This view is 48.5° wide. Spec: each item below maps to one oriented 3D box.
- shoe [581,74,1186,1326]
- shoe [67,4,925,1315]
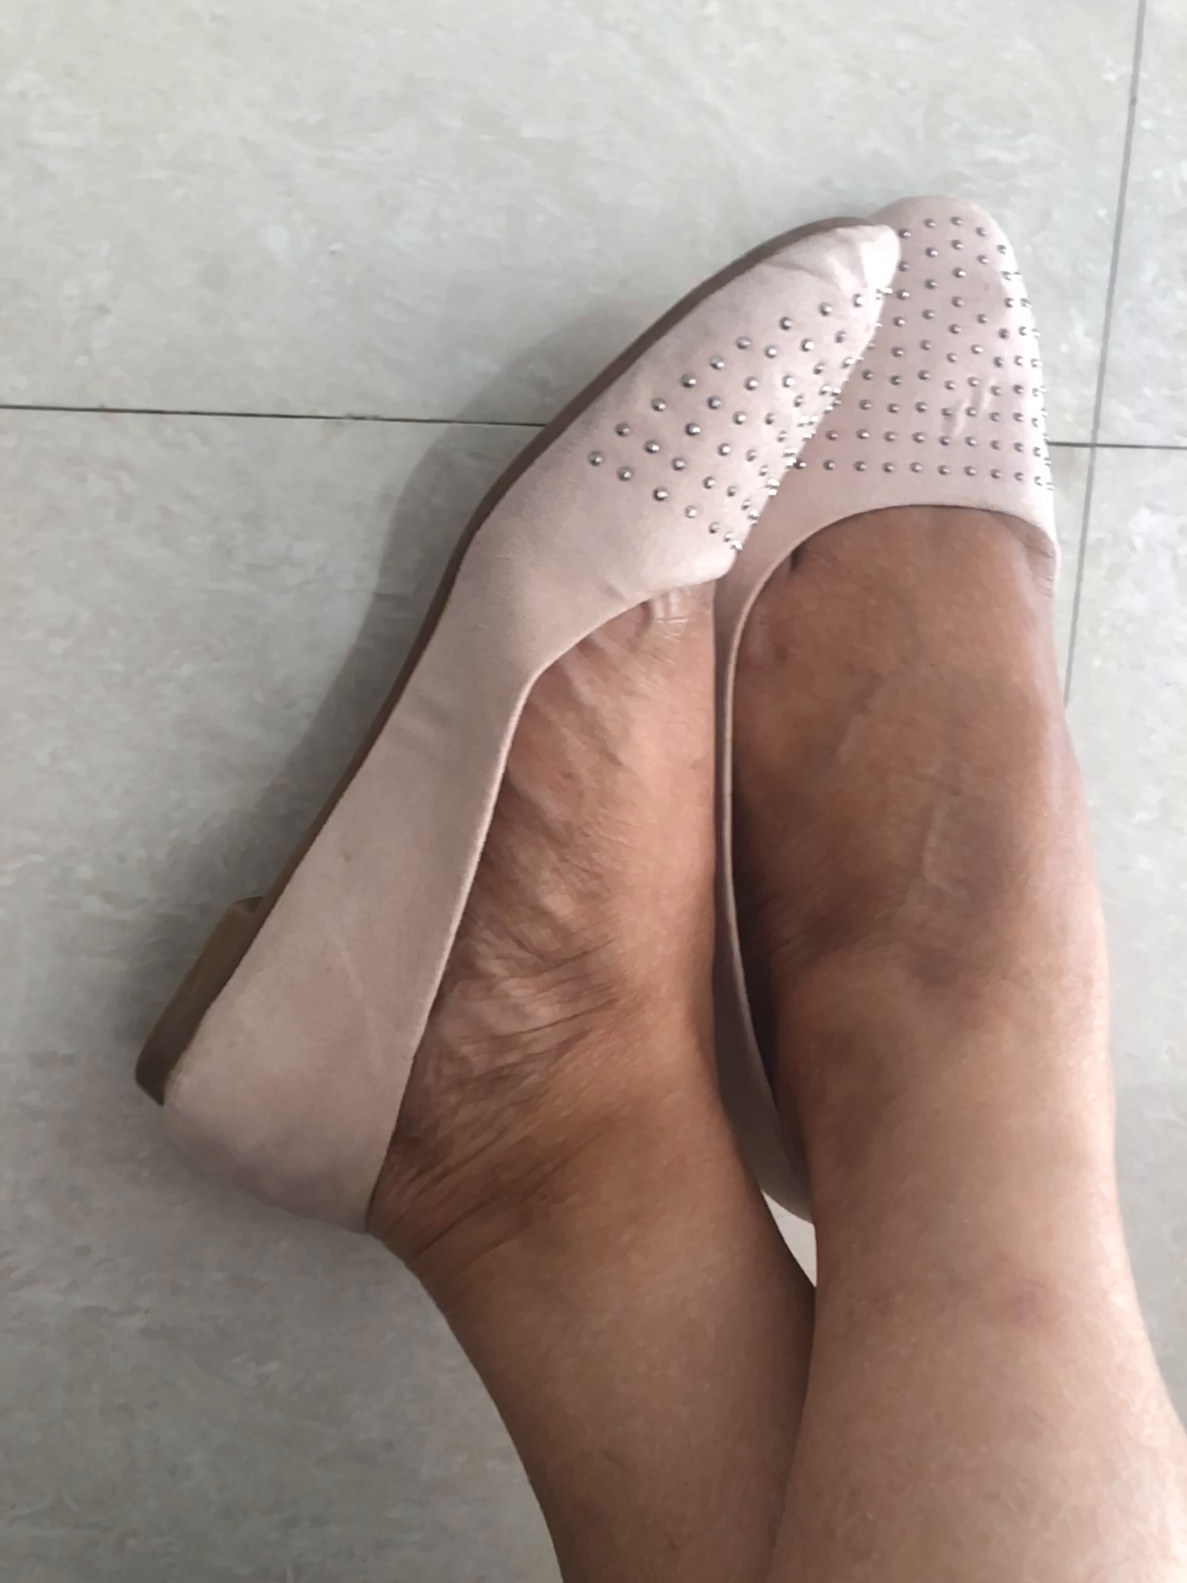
[{"bbox_3d":[0.069,-0.013,0.332,0.100,0.080,0.270,3,102,-16],"label":"shoe"},{"bbox_3d":[-0.017,-0.019,0.286,0.060,0.090,0.240,29,100,18],"label":"shoe"}]
